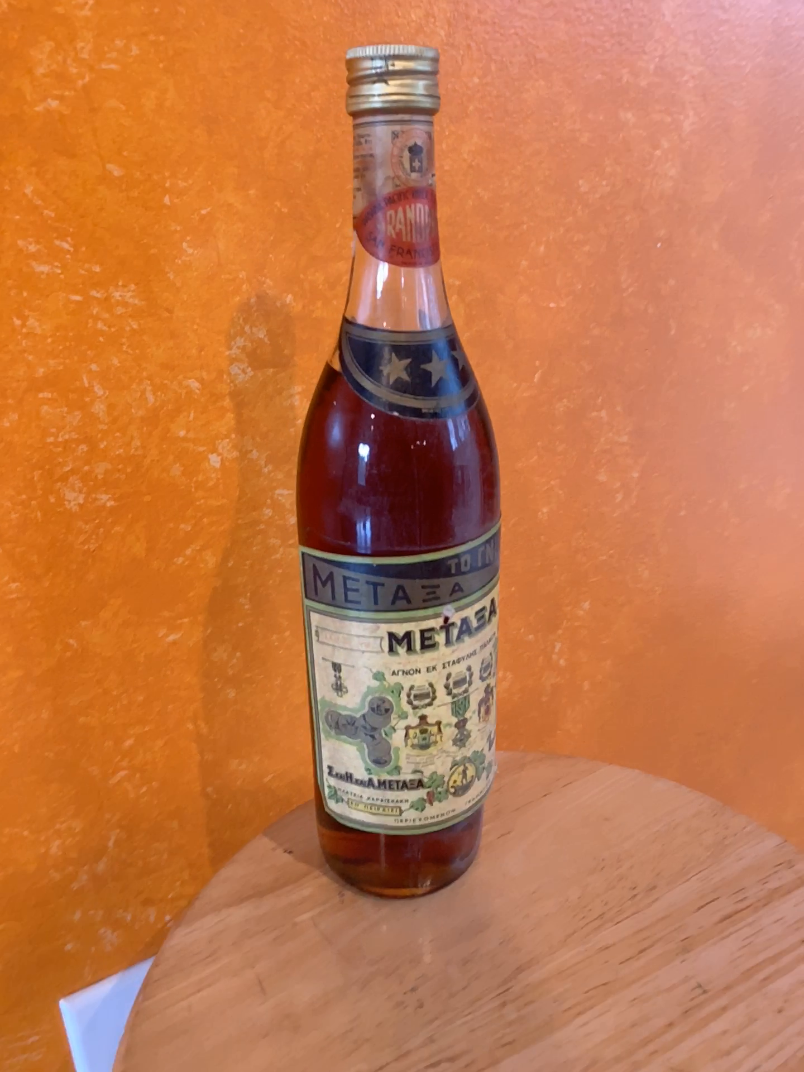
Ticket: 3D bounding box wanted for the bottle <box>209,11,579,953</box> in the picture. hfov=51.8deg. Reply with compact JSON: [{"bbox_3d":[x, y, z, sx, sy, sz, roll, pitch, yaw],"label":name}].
[{"bbox_3d":[-0.006,-0.002,0.293,0.080,0.298,0.070,-12,27,-27],"label":"bottle"}]
